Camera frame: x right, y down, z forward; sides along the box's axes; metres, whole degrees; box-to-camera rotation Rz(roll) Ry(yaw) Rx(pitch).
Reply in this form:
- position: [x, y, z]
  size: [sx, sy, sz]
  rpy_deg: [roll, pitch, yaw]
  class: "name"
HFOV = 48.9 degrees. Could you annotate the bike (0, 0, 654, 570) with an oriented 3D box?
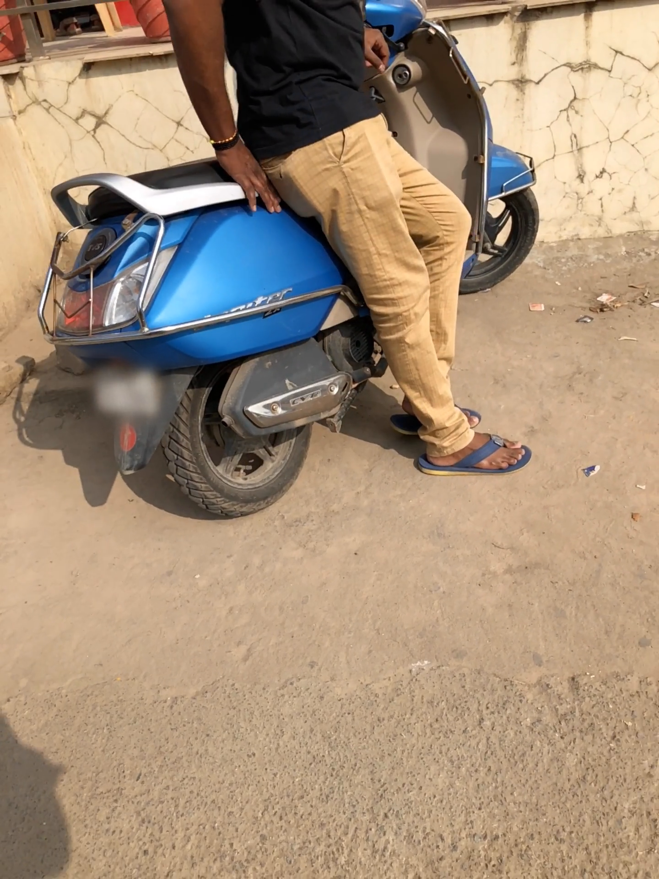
- position: [0.139, -0.621, 1.886]
  size: [0.594, 1.021, 1.577]
  rpy_deg: [20, 45, 36]
  class: "bike"
